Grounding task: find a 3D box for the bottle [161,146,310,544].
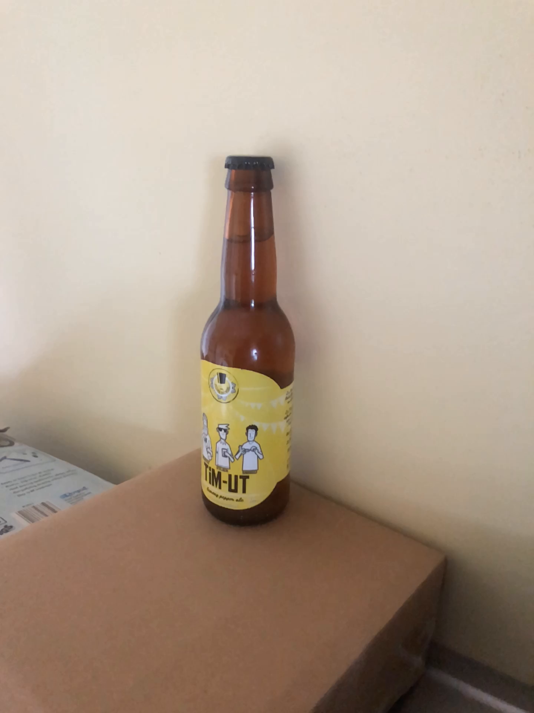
[{"bbox_3d":[-0.018,-0.008,0.367,0.060,0.229,0.060,1,17,0],"label":"bottle"}]
